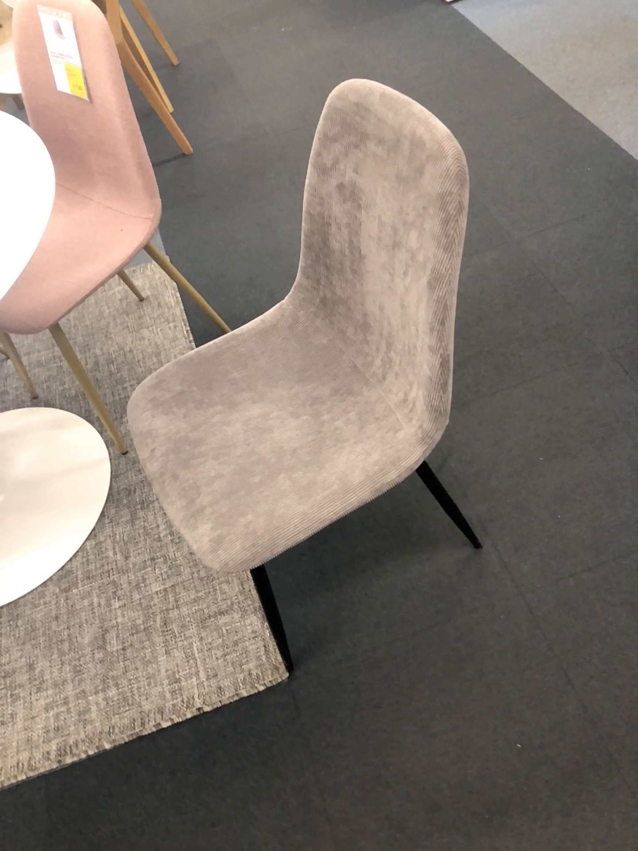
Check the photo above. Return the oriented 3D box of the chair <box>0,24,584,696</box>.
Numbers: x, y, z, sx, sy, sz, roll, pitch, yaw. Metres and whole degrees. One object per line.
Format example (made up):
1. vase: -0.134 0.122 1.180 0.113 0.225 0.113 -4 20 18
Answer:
1. chair: -0.035 -0.068 1.193 0.580 0.808 0.582 -28 53 -10
